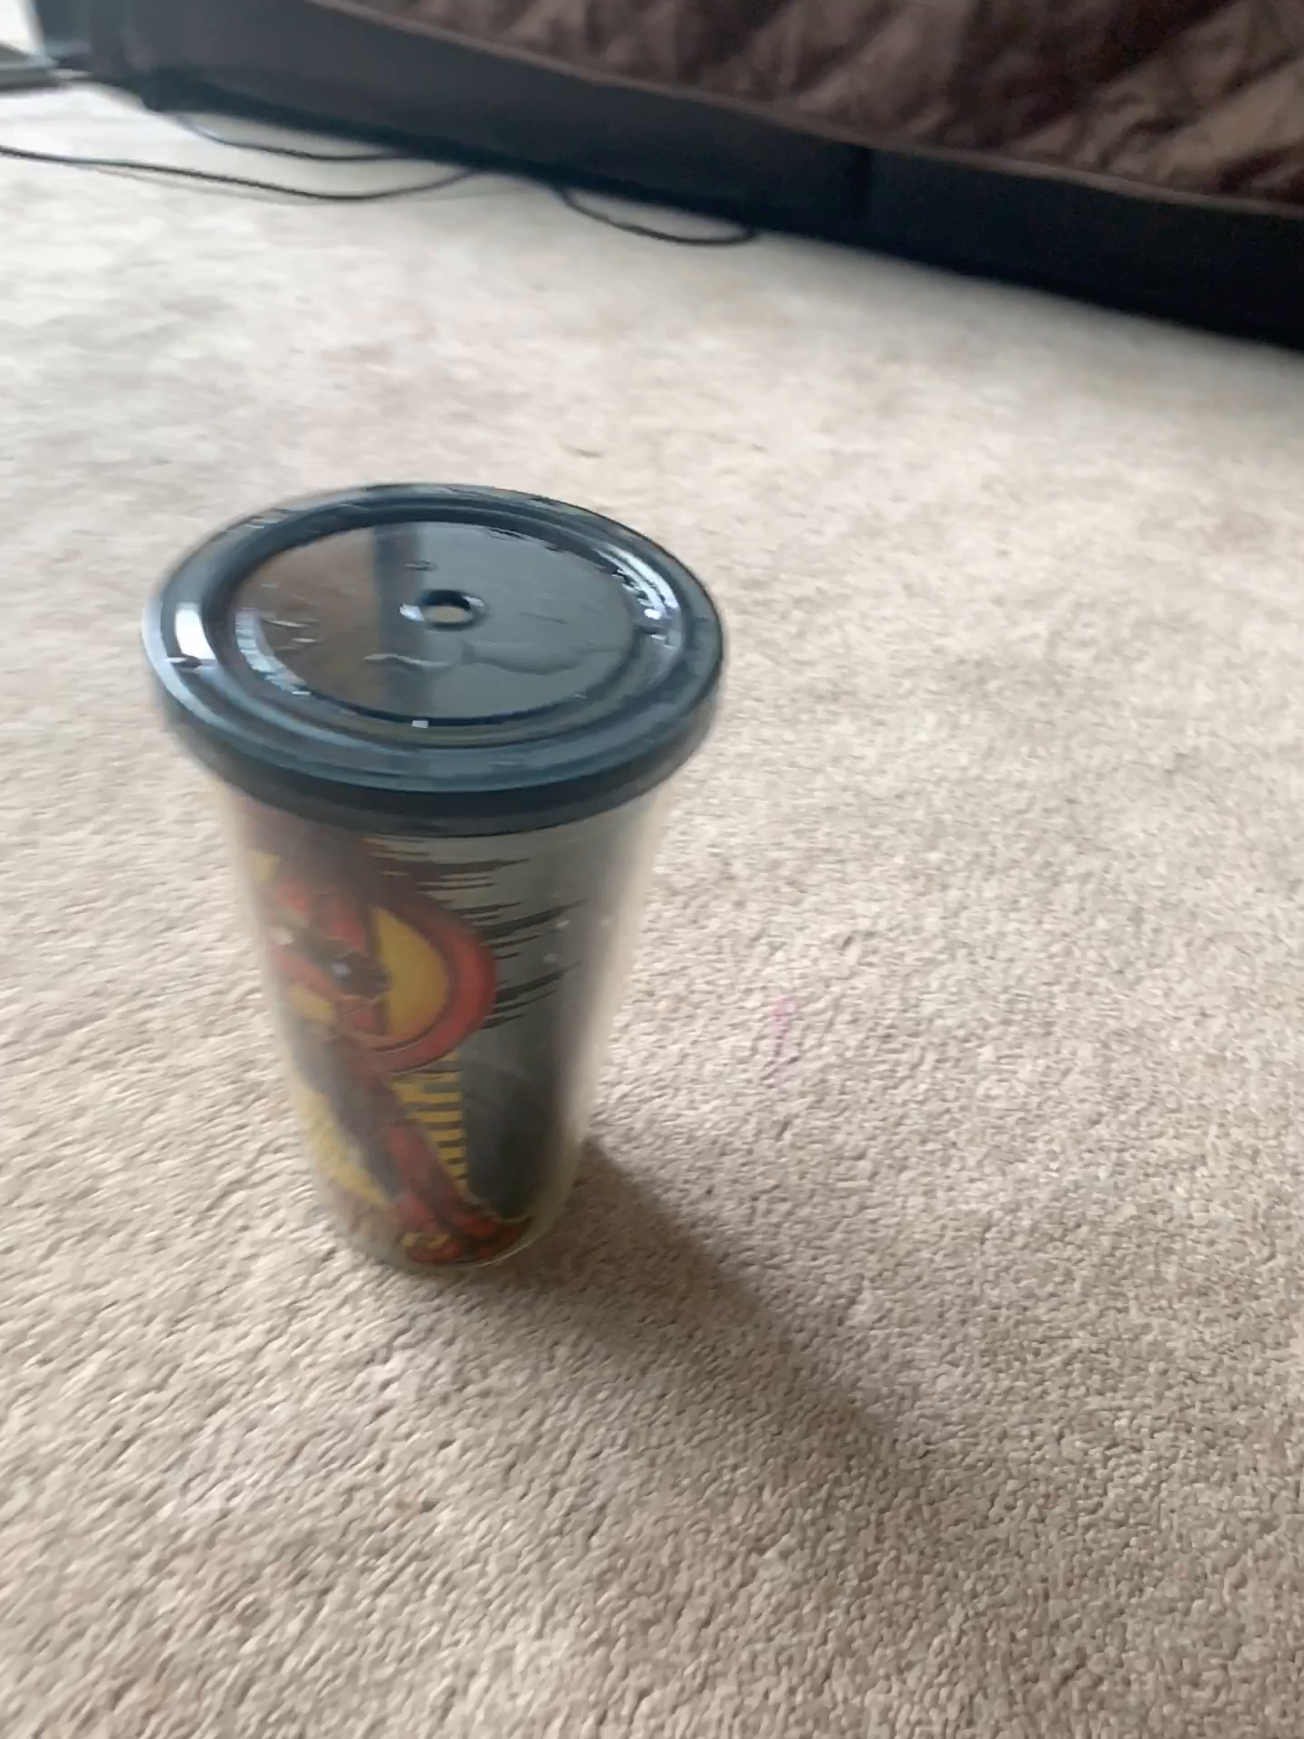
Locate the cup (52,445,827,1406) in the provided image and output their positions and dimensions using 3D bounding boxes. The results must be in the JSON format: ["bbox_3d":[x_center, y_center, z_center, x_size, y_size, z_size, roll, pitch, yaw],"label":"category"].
[{"bbox_3d":[-0.032,0.011,0.263,0.100,0.139,0.101,5,38,-4],"label":"cup"}]
